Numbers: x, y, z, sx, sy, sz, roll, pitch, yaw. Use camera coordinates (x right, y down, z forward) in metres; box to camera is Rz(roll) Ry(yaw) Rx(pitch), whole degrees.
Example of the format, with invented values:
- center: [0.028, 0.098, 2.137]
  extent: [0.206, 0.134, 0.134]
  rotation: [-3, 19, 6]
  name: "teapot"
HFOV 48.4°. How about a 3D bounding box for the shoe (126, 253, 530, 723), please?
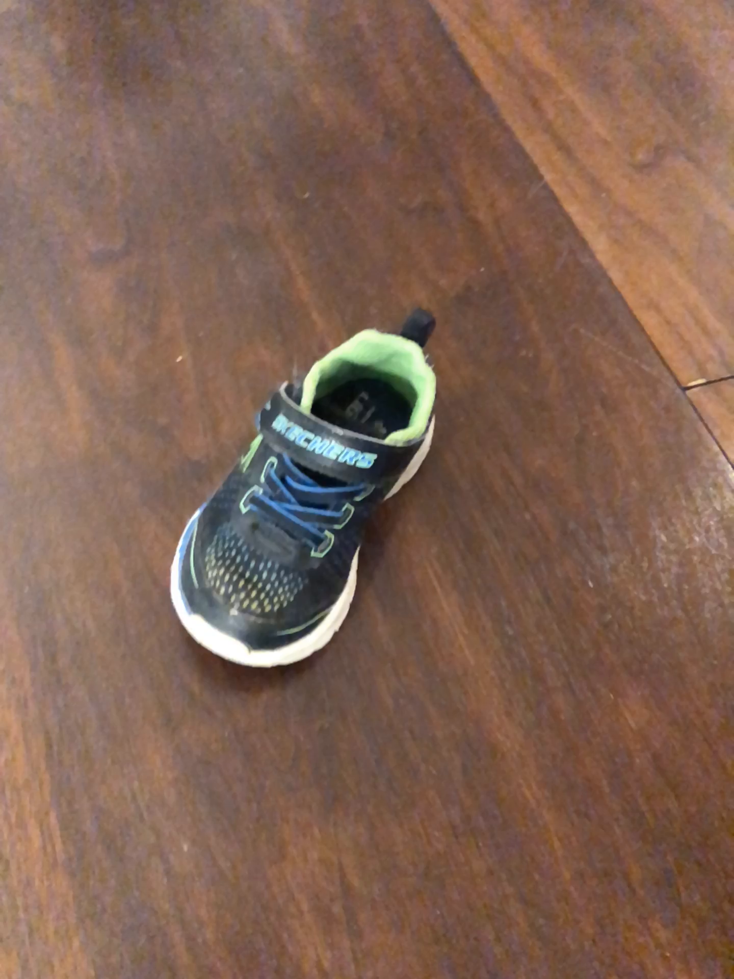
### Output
- center: [-0.012, -0.005, 0.349]
  extent: [0.080, 0.080, 0.170]
  rotation: [30, 60, 8]
  name: "shoe"
